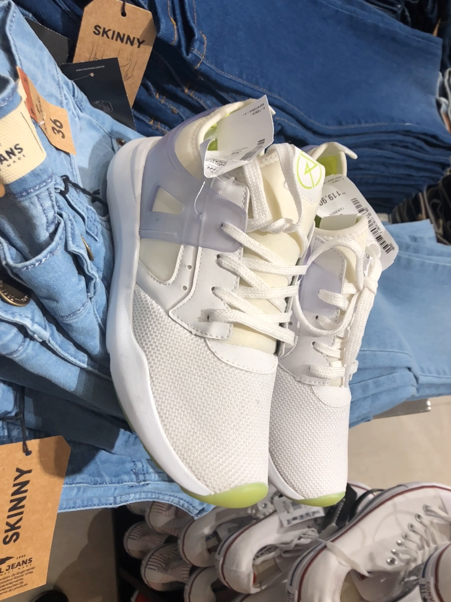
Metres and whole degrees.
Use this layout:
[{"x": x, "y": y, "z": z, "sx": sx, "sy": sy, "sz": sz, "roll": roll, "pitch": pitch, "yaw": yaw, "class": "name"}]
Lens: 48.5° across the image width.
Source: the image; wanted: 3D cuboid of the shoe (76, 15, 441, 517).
[{"x": -0.003, "y": -0.025, "z": 0.305, "sx": 0.110, "sy": 0.119, "sz": 0.260, "roll": 19, "pitch": 44, "yaw": -41, "class": "shoe"}]

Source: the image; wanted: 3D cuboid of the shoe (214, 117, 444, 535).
[{"x": 0.065, "y": 0.016, "z": 0.358, "sx": 0.100, "sy": 0.090, "sz": 0.250, "roll": 5, "pitch": 74, "yaw": -33, "class": "shoe"}]
